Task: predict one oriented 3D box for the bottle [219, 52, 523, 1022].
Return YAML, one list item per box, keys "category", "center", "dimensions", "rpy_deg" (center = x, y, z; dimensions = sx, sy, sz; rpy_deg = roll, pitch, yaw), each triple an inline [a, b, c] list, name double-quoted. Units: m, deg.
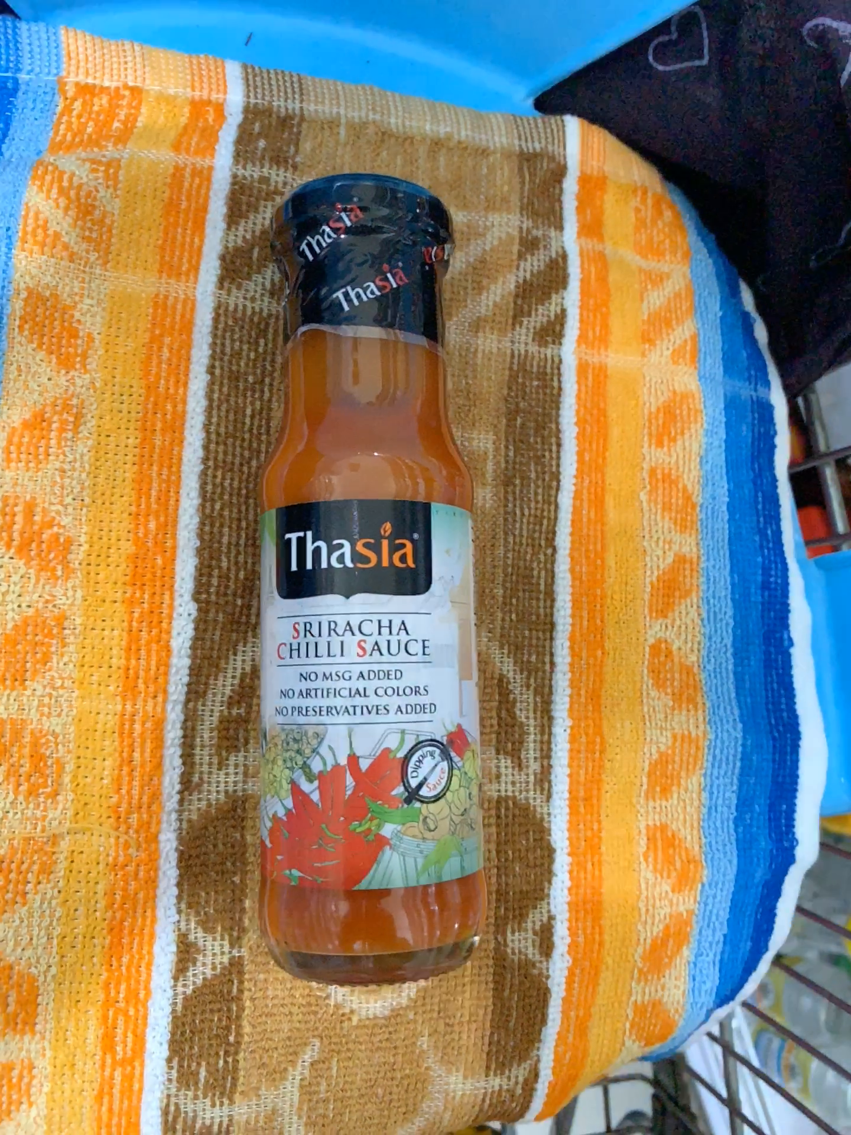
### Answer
- category: "bottle"
  center: [-0.011, -0.010, 0.187]
  dimensions: [0.050, 0.050, 0.180]
  rpy_deg: [-1, 80, 0]
